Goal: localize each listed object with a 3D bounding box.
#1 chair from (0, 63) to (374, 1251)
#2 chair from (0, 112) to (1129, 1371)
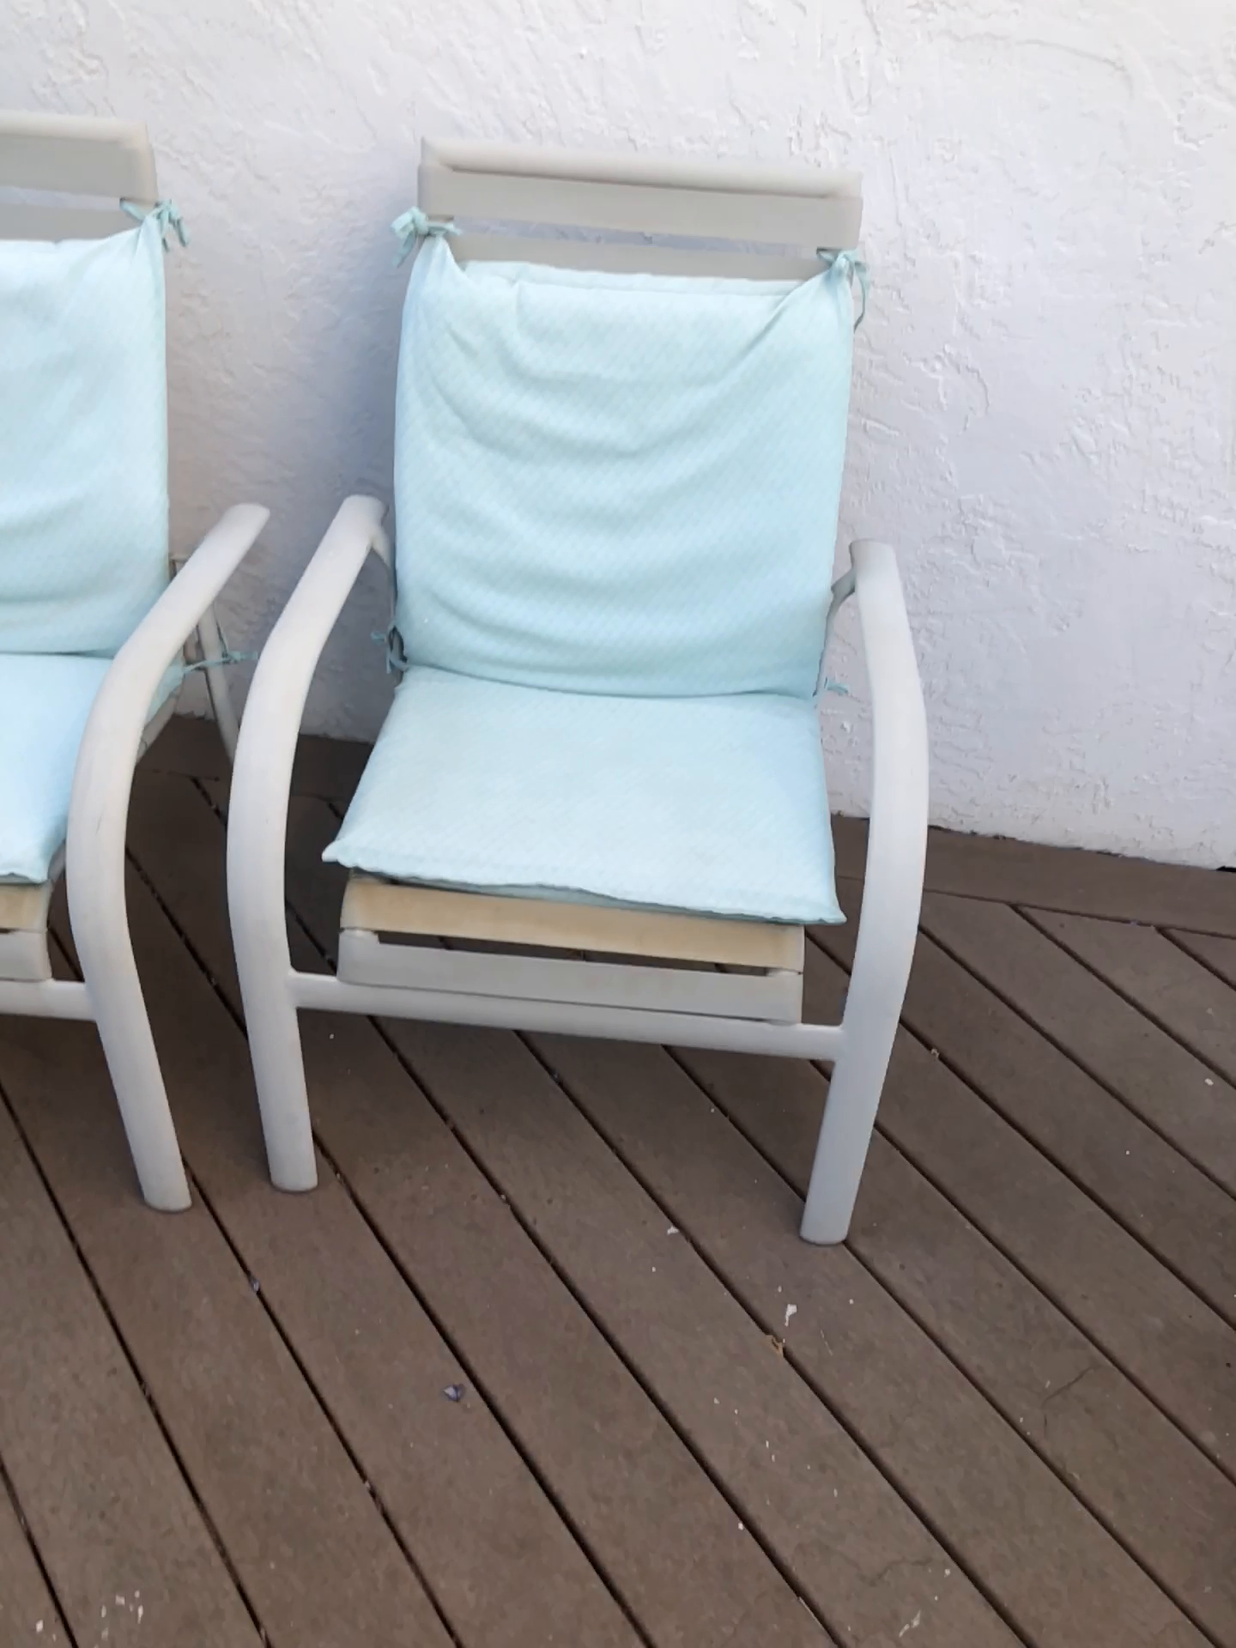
[{"bbox_3d":[-0.741,-0.175,1.493,0.700,0.965,0.784,6,42,2],"label":"chair"},{"bbox_3d":[-0.039,-0.064,1.738,0.840,1.273,0.875,6,42,2],"label":"chair"}]
